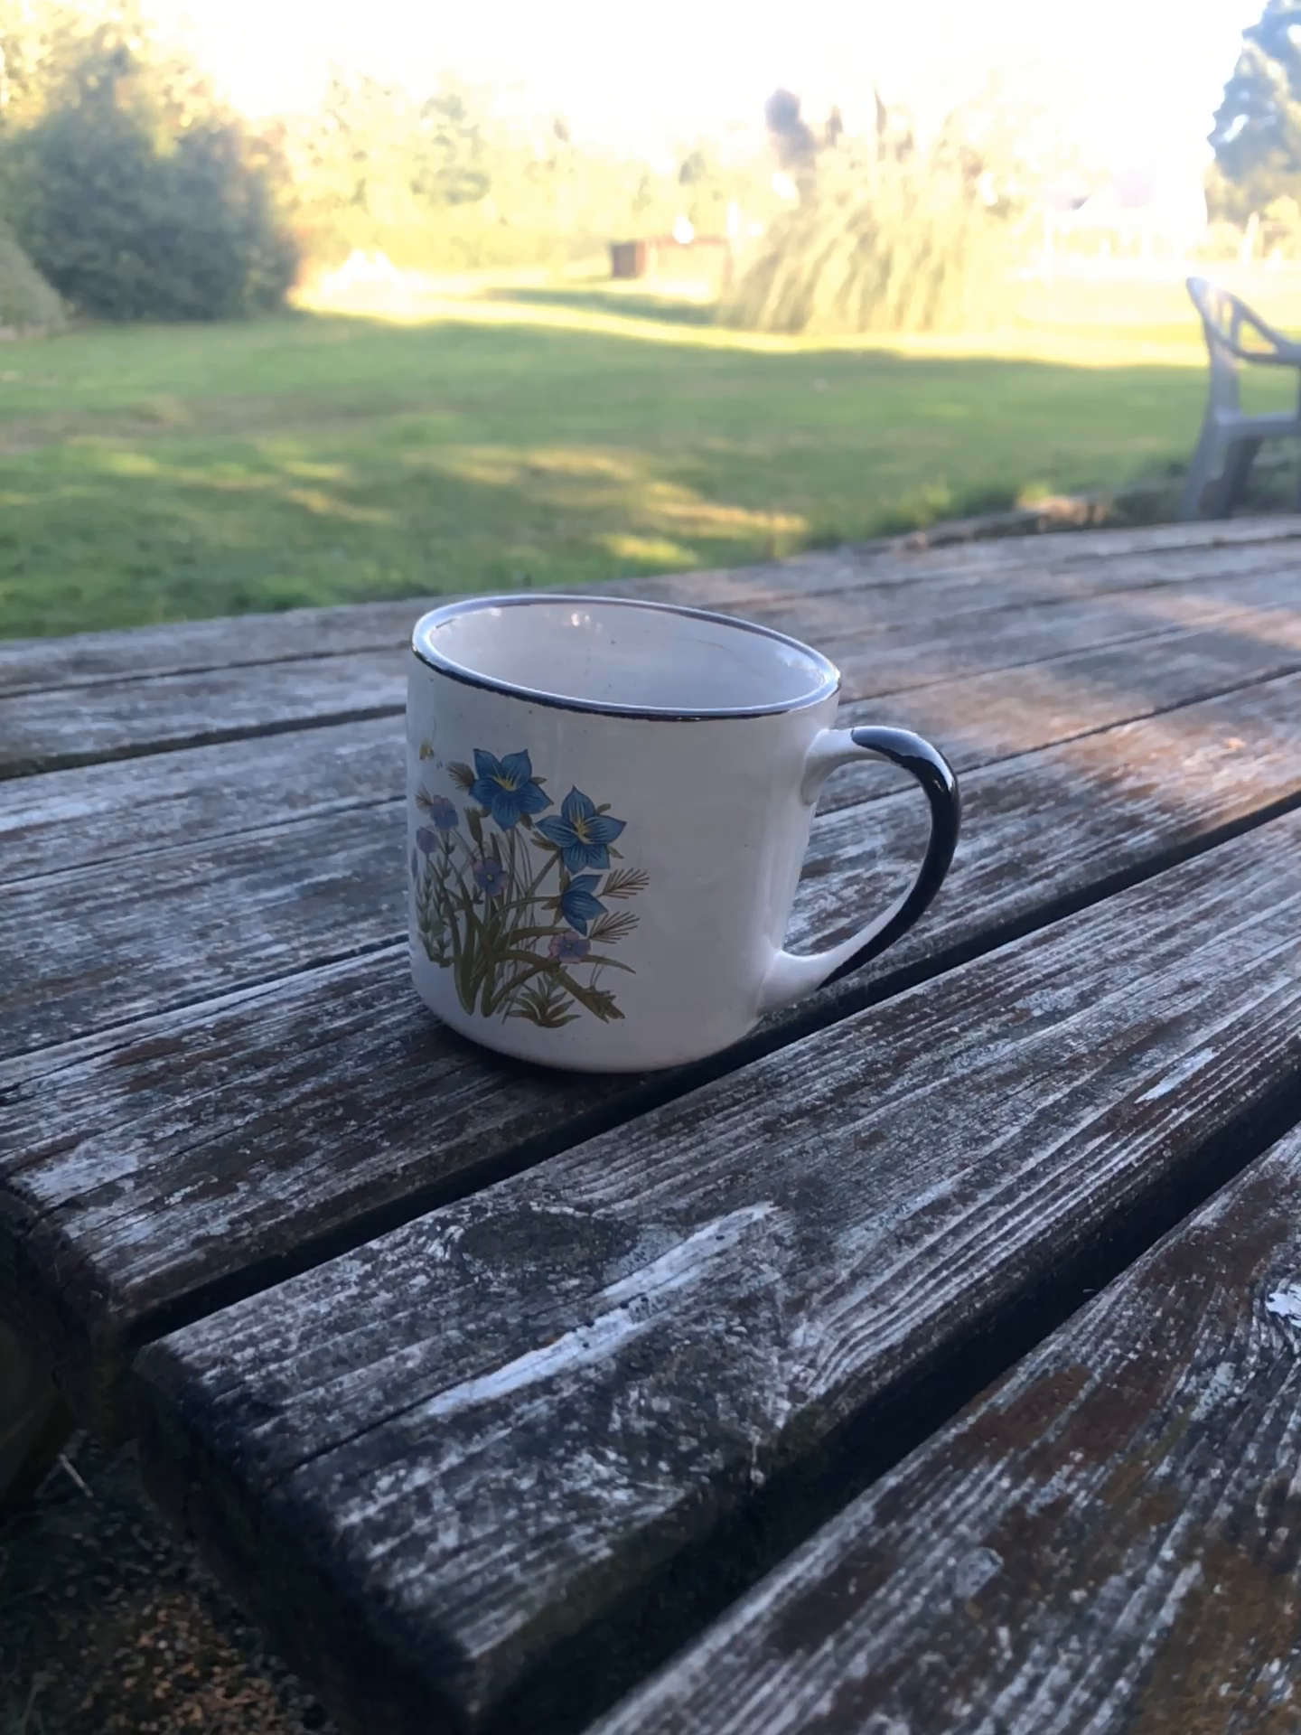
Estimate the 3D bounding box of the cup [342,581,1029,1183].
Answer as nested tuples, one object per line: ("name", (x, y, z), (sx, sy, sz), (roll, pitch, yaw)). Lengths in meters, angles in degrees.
("cup", (0.008, -0.006, 0.293), (0.108, 0.078, 0.087), (13, 22, 20))
